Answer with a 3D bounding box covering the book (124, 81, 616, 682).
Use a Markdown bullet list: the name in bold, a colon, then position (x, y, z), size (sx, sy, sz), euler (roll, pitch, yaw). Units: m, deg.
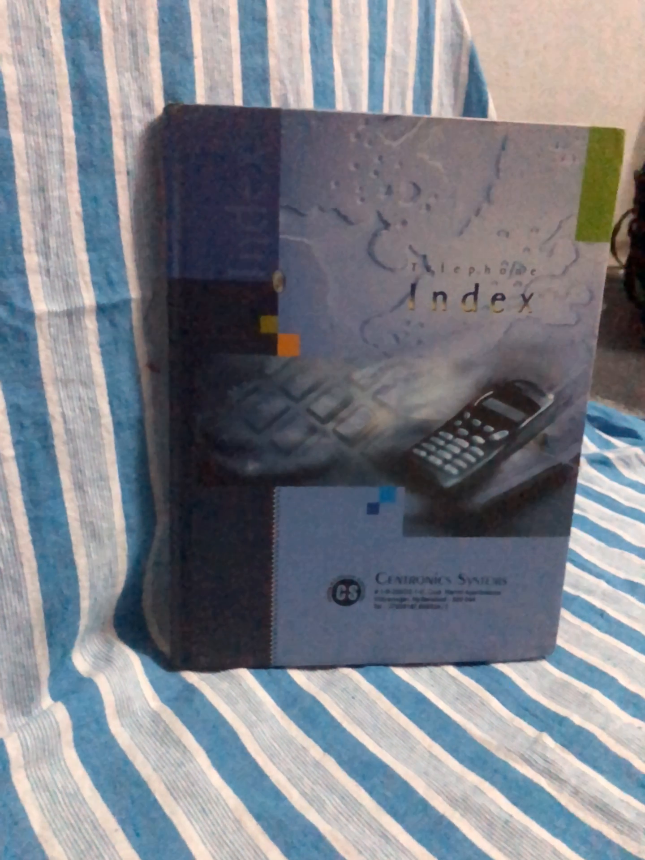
- **book**: position (0.015, -0.008, 0.319), size (0.193, 0.253, 0.023), euler (1, 15, -7)
